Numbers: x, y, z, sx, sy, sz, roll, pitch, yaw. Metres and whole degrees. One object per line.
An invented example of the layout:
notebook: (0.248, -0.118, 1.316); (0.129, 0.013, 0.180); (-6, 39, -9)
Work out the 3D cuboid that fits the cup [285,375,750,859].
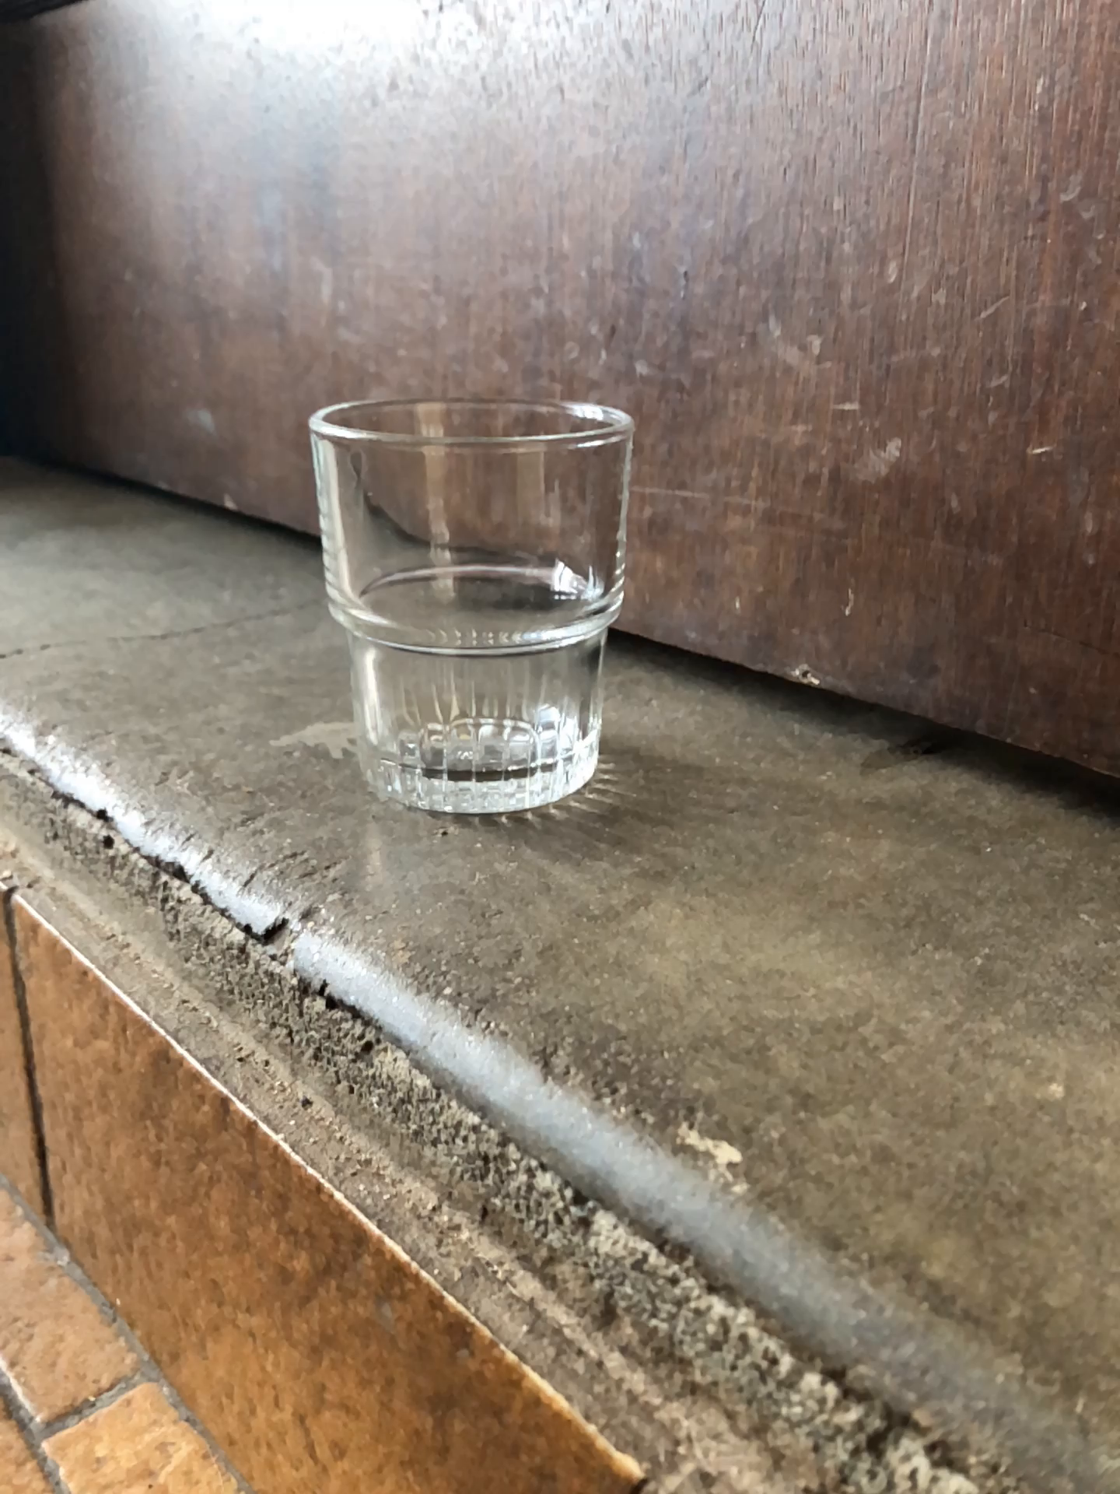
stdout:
cup: (-0.011, -0.033, 0.266); (0.070, 0.080, 0.070); (0, 21, 0)
